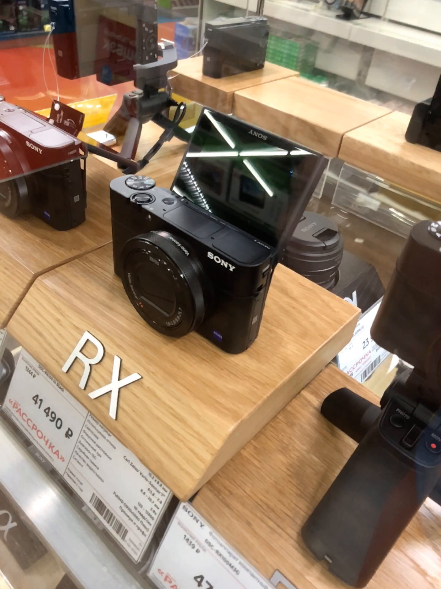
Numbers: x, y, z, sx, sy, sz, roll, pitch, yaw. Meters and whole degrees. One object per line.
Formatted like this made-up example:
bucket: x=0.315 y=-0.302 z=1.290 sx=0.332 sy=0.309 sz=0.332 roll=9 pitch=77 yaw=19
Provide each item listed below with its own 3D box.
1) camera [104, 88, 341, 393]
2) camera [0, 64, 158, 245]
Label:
camera: x=-0.008 y=-0.029 z=0.258 sx=0.100 sy=0.119 sz=0.050 roll=34 pitch=46 yaw=28
camera: x=-0.114 y=-0.101 z=0.334 sx=0.101 sy=0.067 sz=0.097 roll=33 pitch=46 yaw=28
